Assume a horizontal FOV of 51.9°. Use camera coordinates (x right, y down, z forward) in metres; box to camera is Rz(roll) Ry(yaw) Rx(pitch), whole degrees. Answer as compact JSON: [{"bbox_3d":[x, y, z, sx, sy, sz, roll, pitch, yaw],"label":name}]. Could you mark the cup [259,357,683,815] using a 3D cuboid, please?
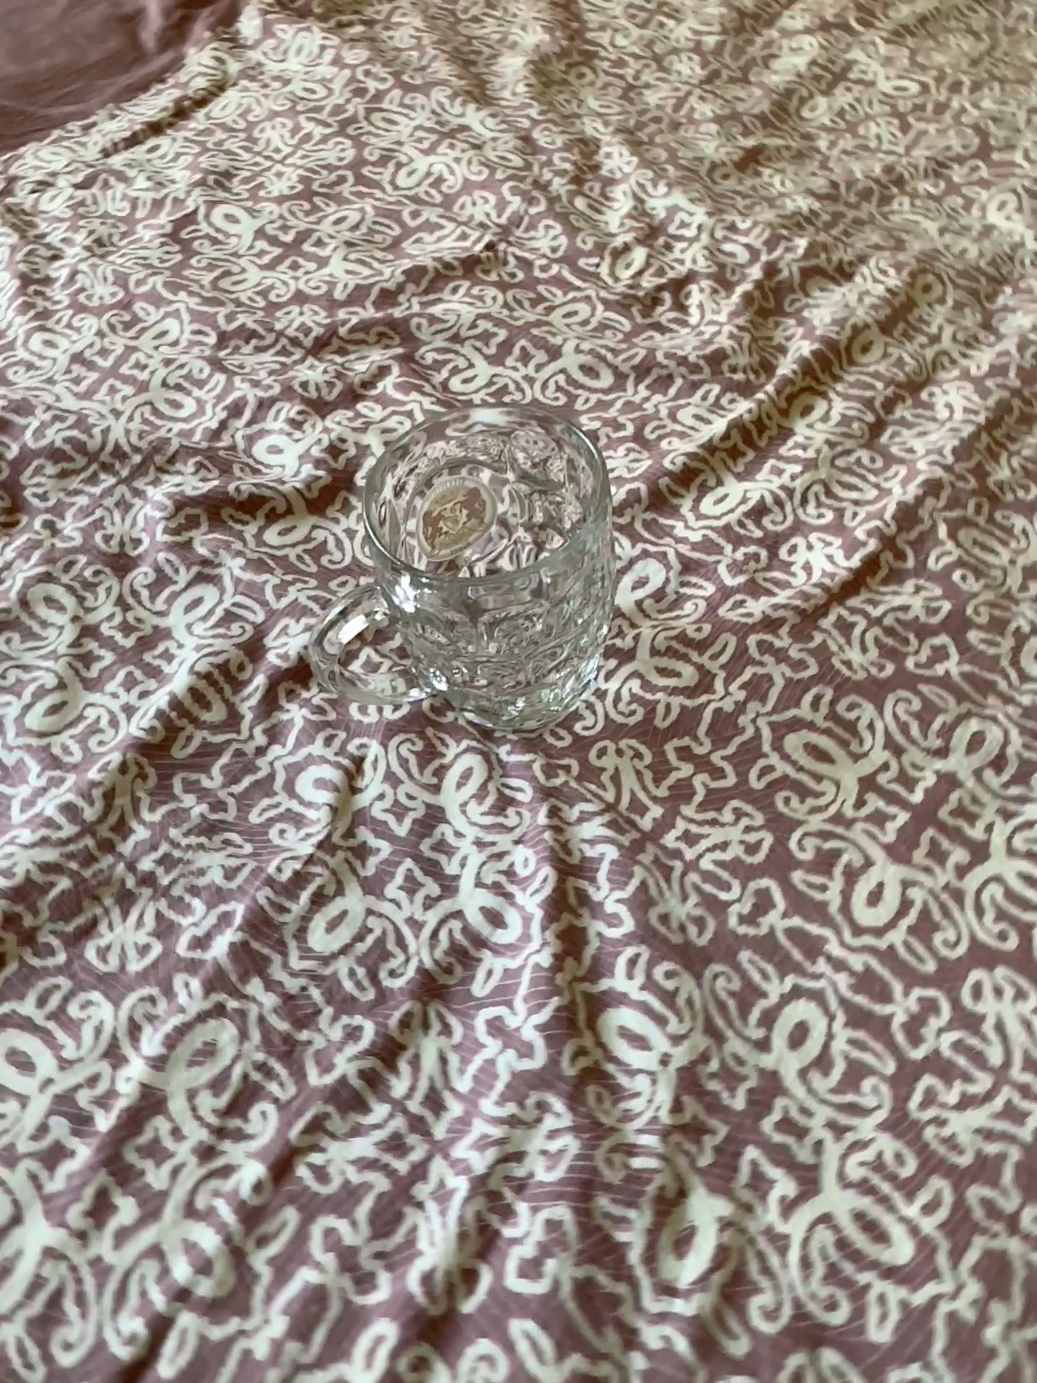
[{"bbox_3d":[-0.014,-0.040,0.411,0.117,0.099,0.093,-32,58,-15],"label":"cup"}]
